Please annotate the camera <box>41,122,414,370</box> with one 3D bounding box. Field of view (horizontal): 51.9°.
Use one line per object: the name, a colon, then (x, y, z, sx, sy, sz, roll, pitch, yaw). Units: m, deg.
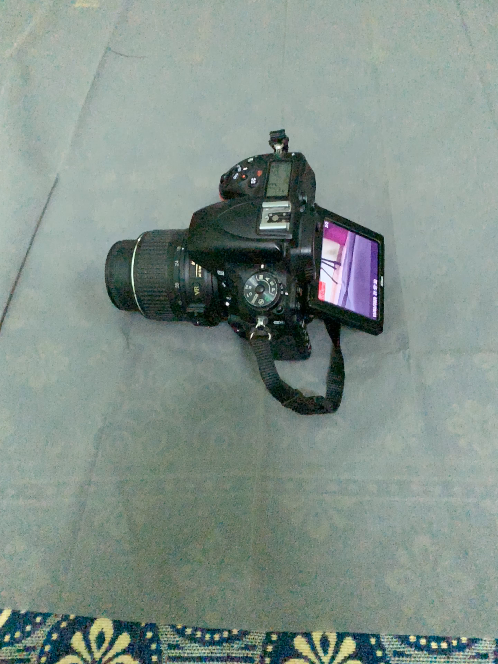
camera: (-0.011, -0.067, 0.400, 0.230, 0.100, 0.166, 0, 57, 3)
